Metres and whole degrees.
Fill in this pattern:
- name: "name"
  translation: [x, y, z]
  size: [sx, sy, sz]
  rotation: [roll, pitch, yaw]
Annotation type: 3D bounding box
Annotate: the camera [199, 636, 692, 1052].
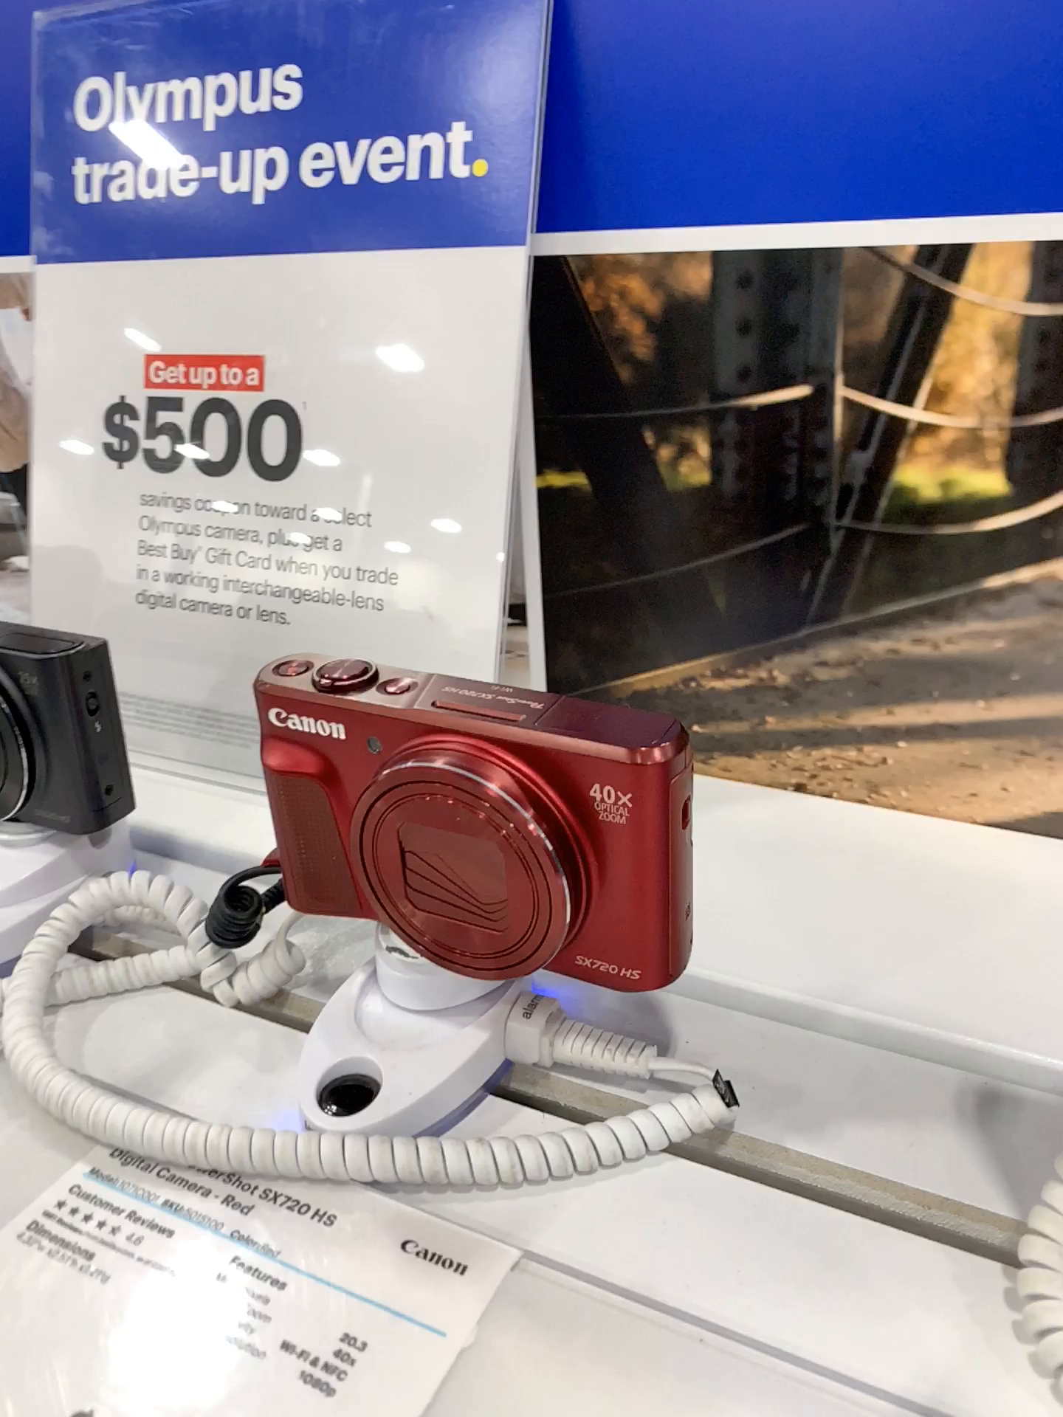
- name: "camera"
  translation: [-0.020, 0.028, 0.259]
  size: [0.110, 0.070, 0.030]
  rotation: [10, 29, 28]
